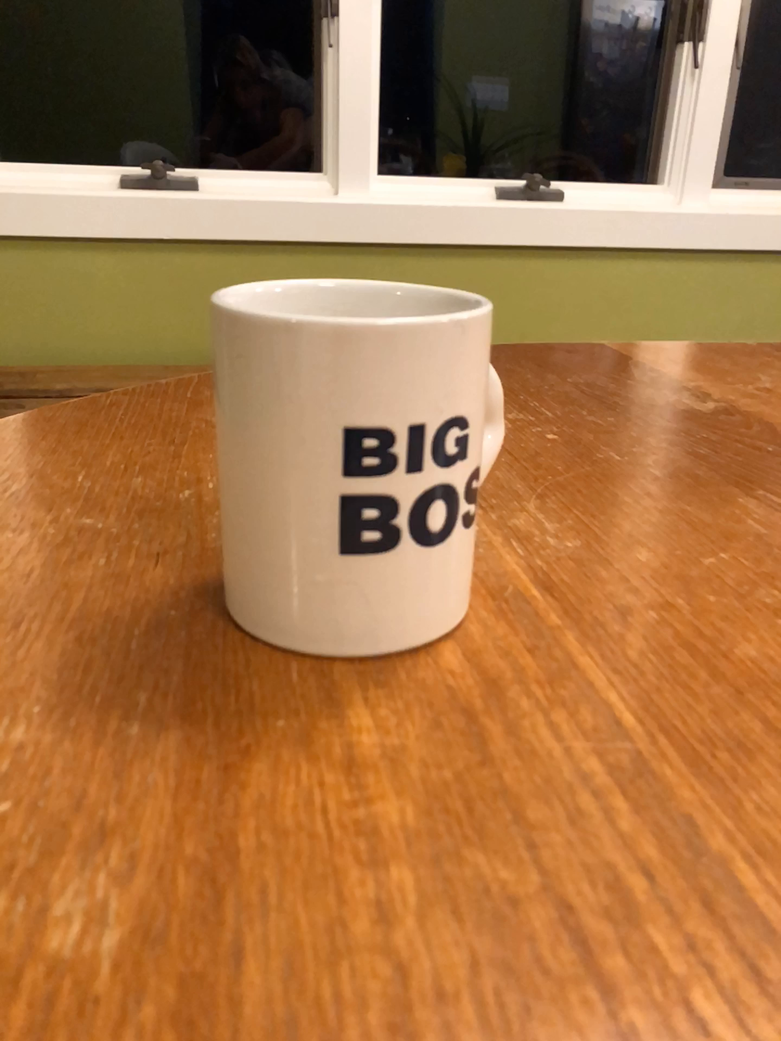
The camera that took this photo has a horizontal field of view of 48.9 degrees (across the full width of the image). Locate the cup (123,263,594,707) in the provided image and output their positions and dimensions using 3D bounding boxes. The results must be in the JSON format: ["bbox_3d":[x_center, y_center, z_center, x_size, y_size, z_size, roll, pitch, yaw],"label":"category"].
[{"bbox_3d":[-0.002,-0.027,0.291,0.087,0.099,0.139,15,25,29],"label":"cup"}]
